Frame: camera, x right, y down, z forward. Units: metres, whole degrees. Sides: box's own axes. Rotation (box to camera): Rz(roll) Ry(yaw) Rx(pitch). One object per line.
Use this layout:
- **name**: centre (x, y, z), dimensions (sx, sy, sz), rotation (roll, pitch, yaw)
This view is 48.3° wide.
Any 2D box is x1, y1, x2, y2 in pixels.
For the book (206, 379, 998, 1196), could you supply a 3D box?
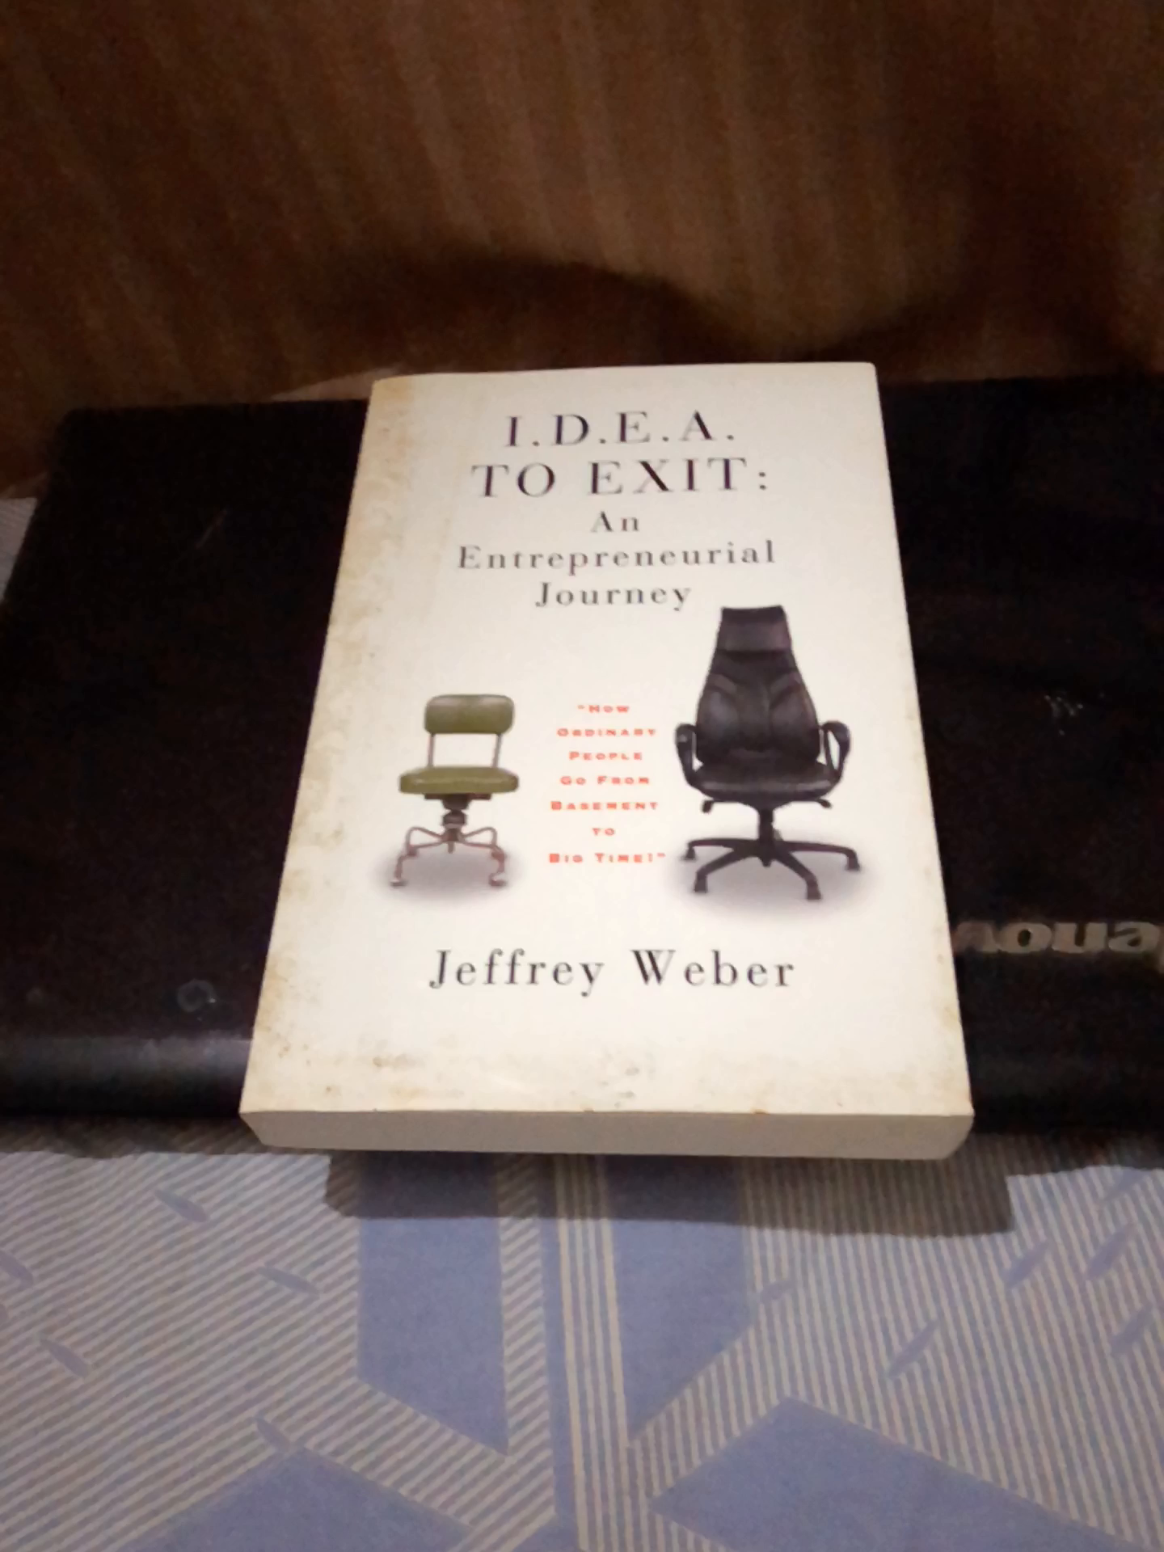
- **book**: centre (0.009, -0.016, 0.345), dimensions (0.160, 0.030, 0.241), rotation (0, 54, 5)
